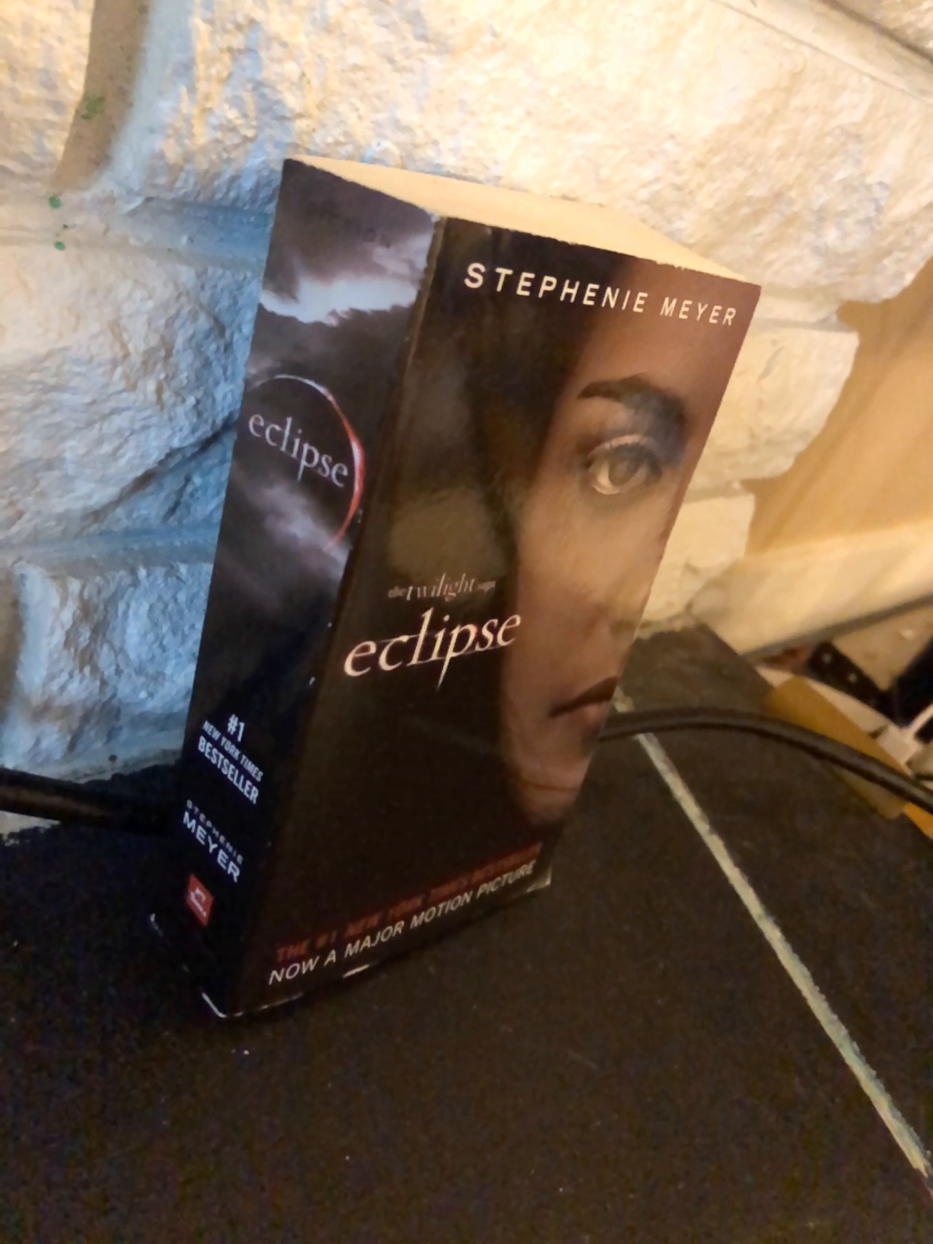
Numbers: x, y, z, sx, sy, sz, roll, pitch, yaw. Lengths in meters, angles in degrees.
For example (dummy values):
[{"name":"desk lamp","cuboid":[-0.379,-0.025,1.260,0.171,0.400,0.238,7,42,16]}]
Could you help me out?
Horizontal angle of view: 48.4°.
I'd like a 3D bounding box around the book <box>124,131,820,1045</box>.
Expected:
[{"name":"book","cuboid":[-0.005,0.001,0.234,0.106,0.181,0.042,-8,38,-41]}]
